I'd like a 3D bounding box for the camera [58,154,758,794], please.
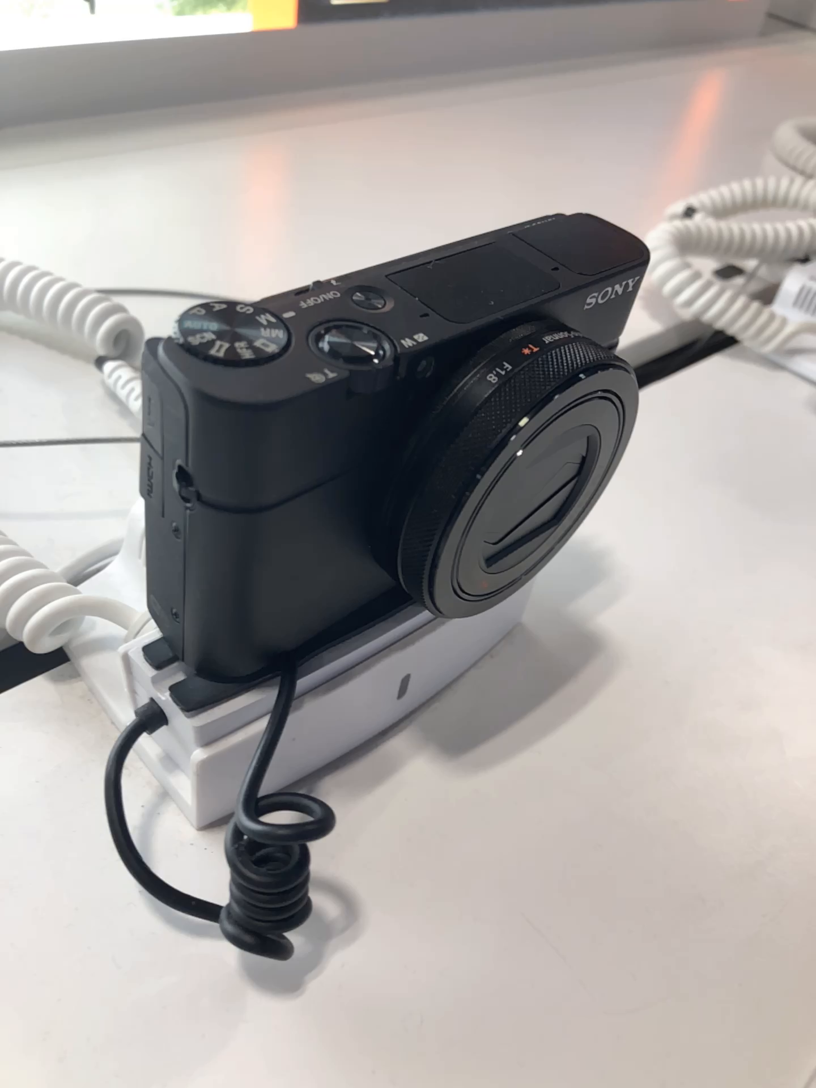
[{"bbox_3d":[0.004,-0.019,0.162,0.110,0.070,0.040,-28,55,-35],"label":"camera"}]
